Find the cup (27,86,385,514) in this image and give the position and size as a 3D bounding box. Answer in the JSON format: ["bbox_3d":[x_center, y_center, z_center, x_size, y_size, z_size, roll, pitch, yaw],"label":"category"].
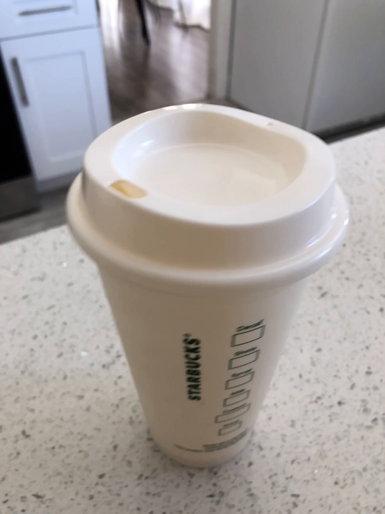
[{"bbox_3d":[0.001,0.022,0.177,0.090,0.139,0.090,0,40,0],"label":"cup"}]
